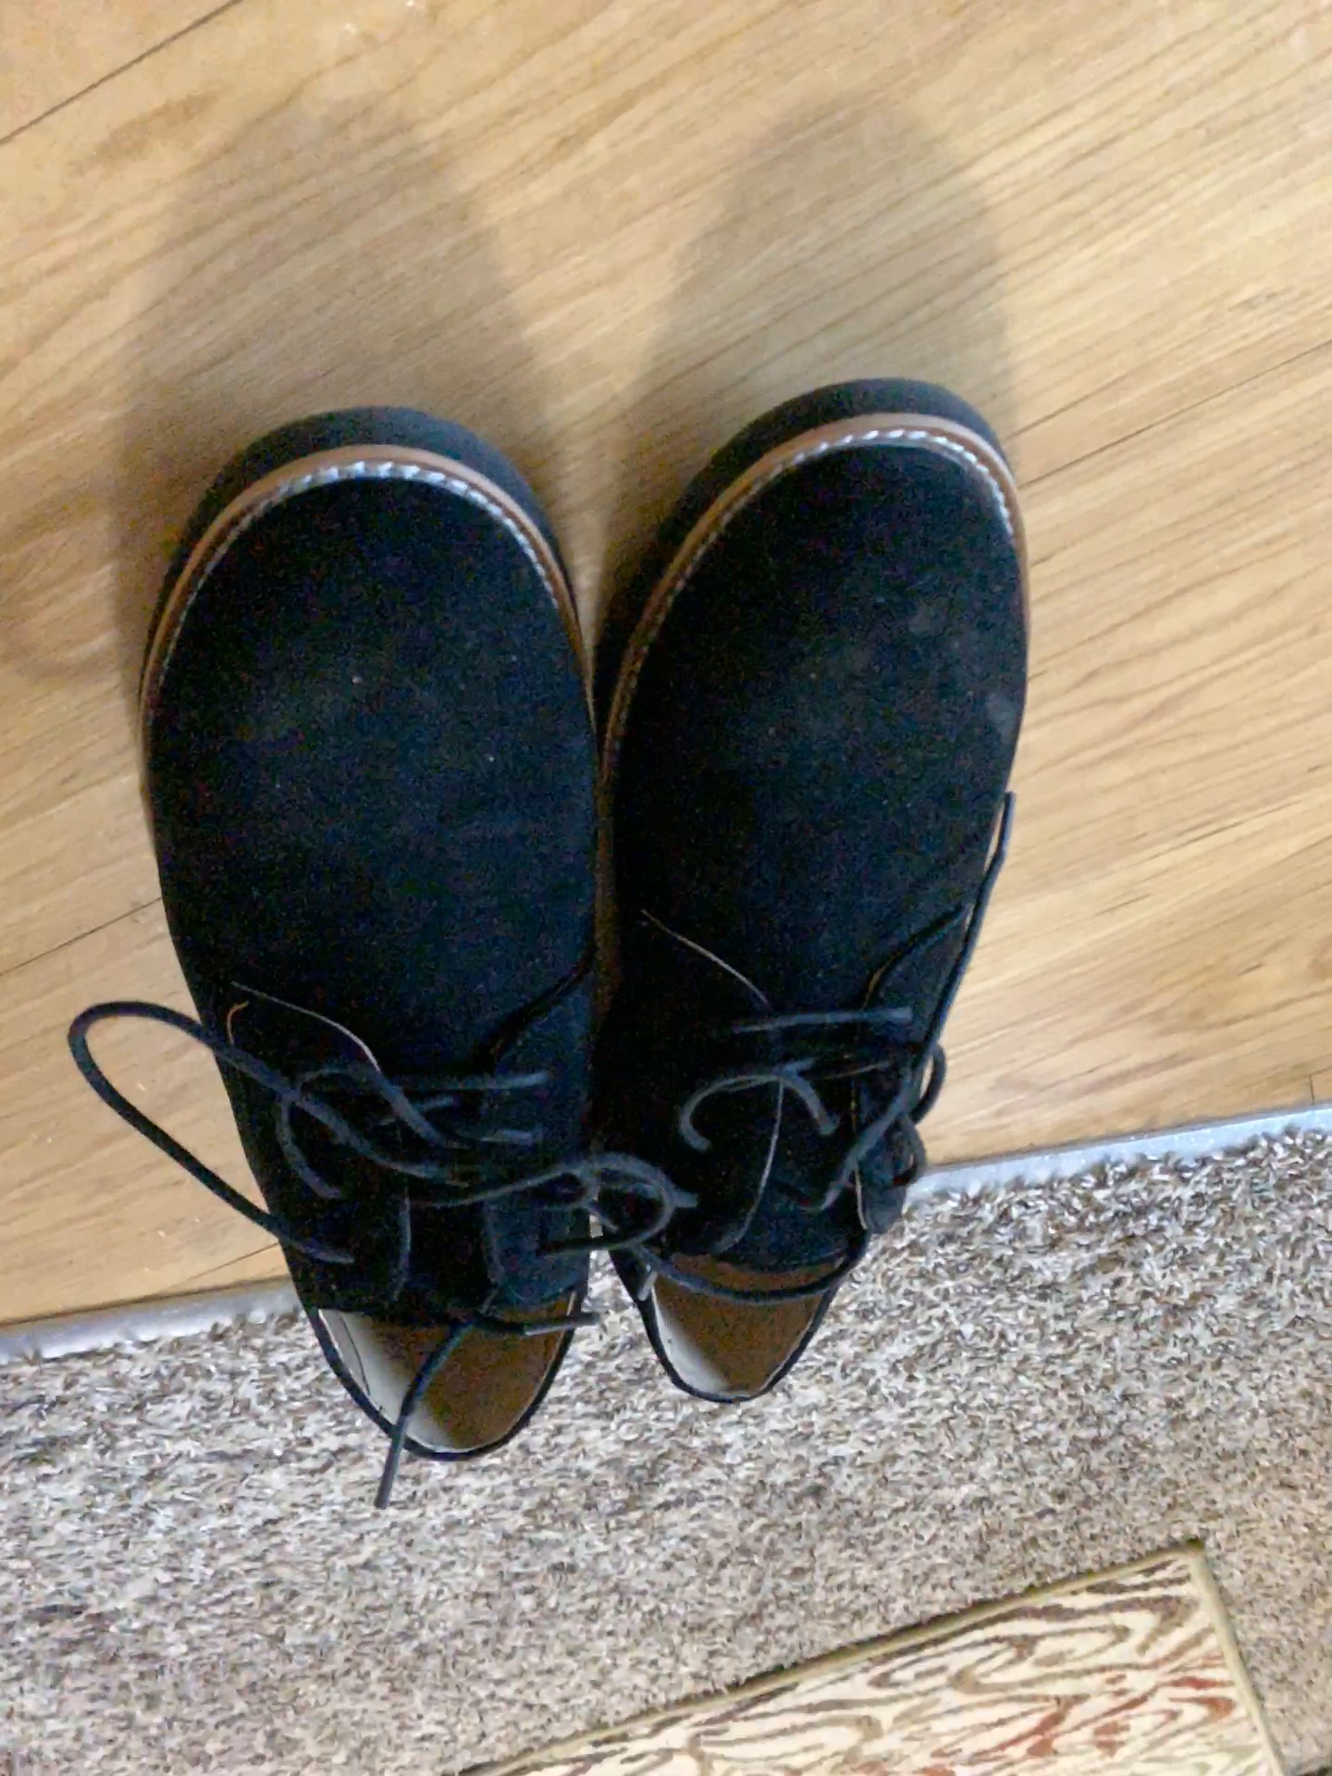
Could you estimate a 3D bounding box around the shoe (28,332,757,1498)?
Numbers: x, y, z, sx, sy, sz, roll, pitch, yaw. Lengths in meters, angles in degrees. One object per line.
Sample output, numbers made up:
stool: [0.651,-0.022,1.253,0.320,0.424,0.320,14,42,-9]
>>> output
shoe: [-0.053,0.039,0.323,0.100,0.069,0.312,-4,135,-10]

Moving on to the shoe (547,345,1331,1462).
shoe: [0.043,0.036,0.344,0.110,0.069,0.312,-1,134,-13]
